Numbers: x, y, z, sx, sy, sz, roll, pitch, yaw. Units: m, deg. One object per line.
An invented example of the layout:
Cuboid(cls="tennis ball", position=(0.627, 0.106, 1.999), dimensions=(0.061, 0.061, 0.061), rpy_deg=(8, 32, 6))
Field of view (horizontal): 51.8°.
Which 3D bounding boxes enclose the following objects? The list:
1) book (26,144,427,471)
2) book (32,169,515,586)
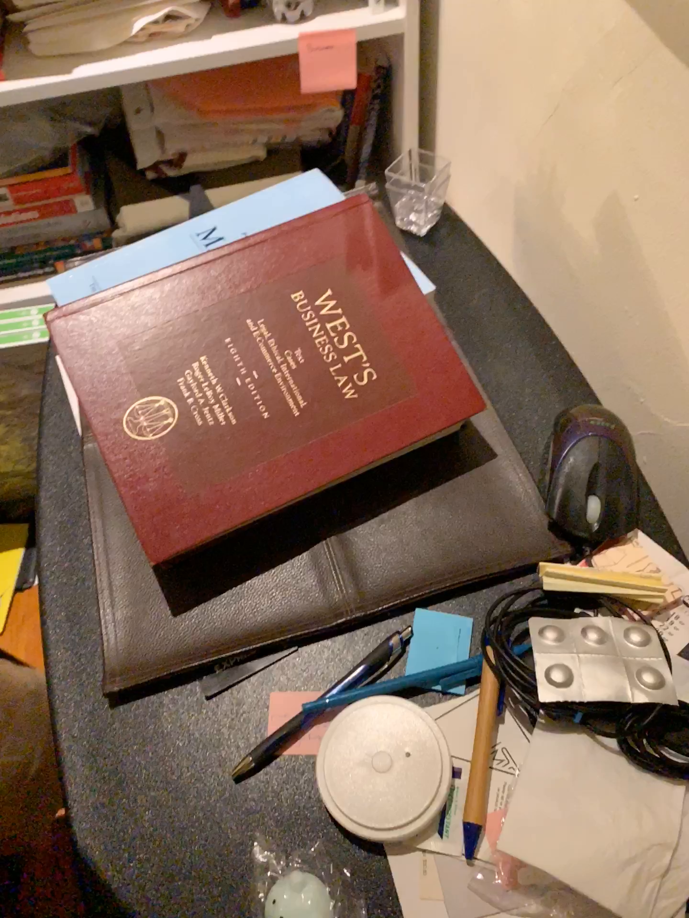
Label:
Cuboid(cls="book", position=(-0.103, -0.144, 0.611), dimensions=(0.270, 0.070, 0.221), rpy_deg=(-25, 56, -12))
Cuboid(cls="book", position=(-0.048, -0.066, 0.518), dimensions=(0.270, 0.050, 0.210), rpy_deg=(-26, 81, -12))
